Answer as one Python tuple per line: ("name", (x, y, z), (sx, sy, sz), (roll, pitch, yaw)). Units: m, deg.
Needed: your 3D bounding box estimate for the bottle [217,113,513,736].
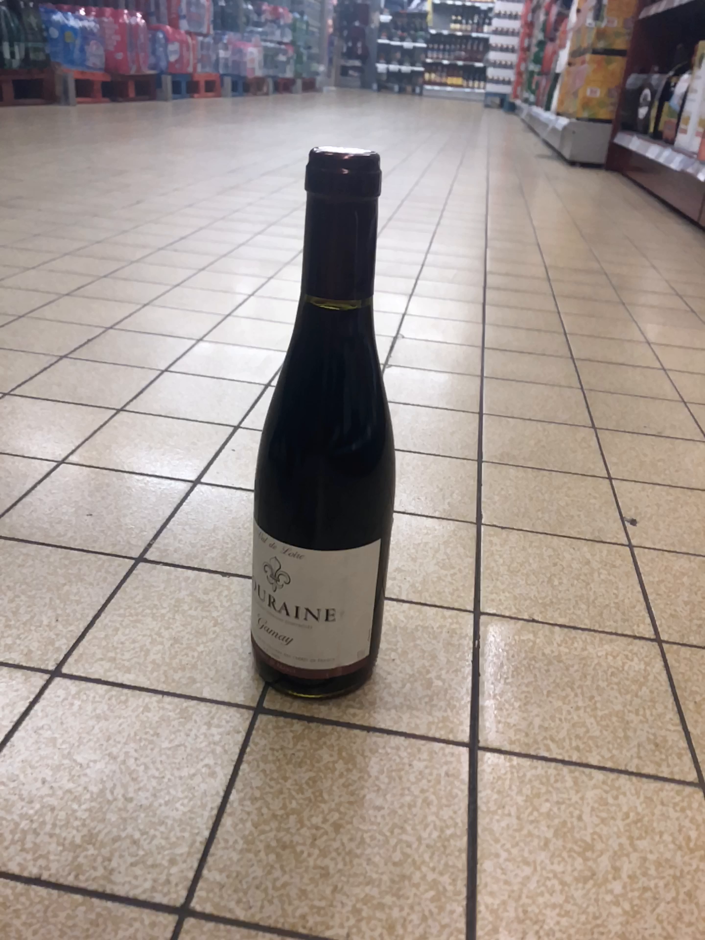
("bottle", (-0.005, -0.016, 0.330), (0.070, 0.239, 0.080), (-18, 34, -39))
